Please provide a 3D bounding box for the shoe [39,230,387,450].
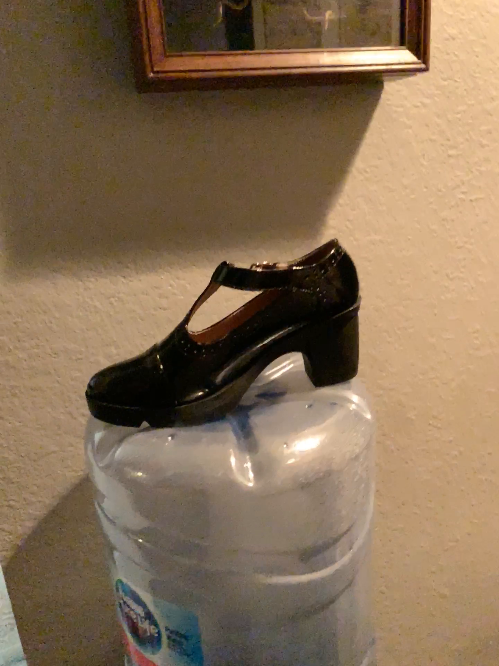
[{"bbox_3d":[-0.028,-0.007,0.471,0.250,0.120,0.130,-8,17,-12],"label":"shoe"}]
